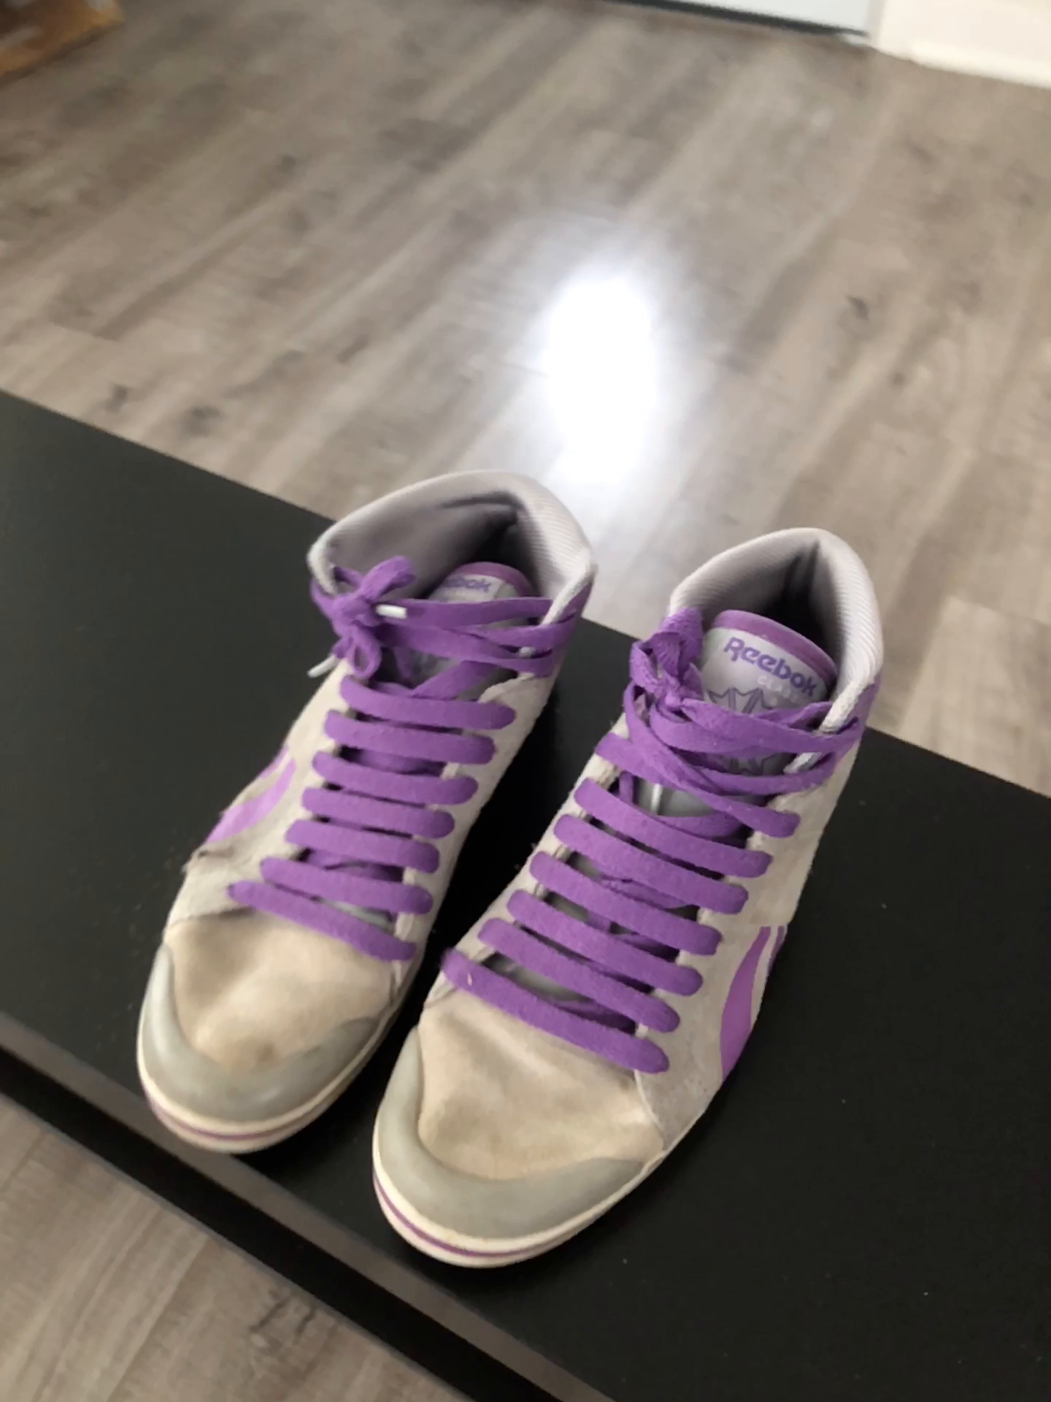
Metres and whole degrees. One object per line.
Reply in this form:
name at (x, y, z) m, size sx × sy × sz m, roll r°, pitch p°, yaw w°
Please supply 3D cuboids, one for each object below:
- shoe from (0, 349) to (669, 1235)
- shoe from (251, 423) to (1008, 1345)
shoe at (-0.046, 0.015, 0.373) m, size 0.100 × 0.120 × 0.240 m, roll 18°, pitch 52°, yaw 15°
shoe at (0.043, 0.039, 0.348) m, size 0.090 × 0.110 × 0.240 m, roll 26°, pitch 55°, yaw 21°
